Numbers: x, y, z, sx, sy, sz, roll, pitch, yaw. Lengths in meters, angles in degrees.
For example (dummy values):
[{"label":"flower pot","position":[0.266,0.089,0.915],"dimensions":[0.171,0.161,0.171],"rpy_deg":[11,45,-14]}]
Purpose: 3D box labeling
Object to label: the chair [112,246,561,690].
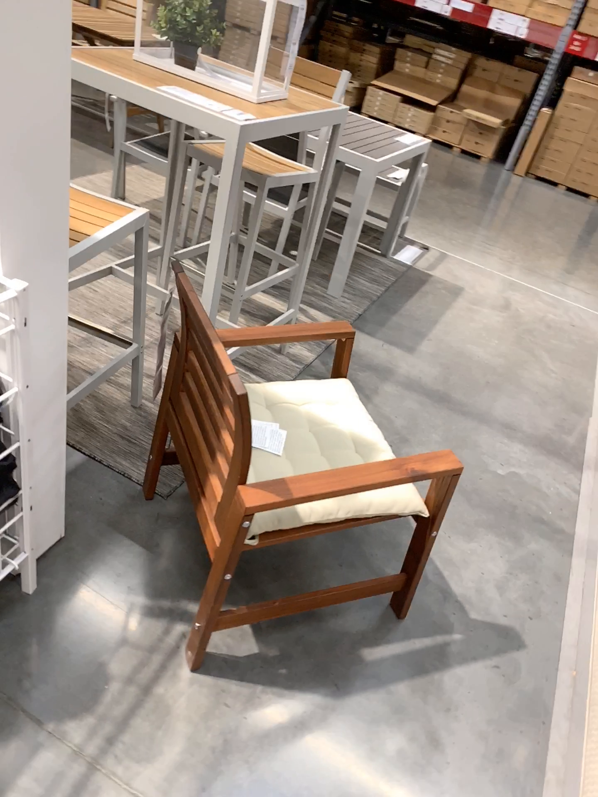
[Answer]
[{"label":"chair","position":[-0.003,0.115,1.487],"dimensions":[0.721,0.706,0.652],"rpy_deg":[-5,40,-27]}]
